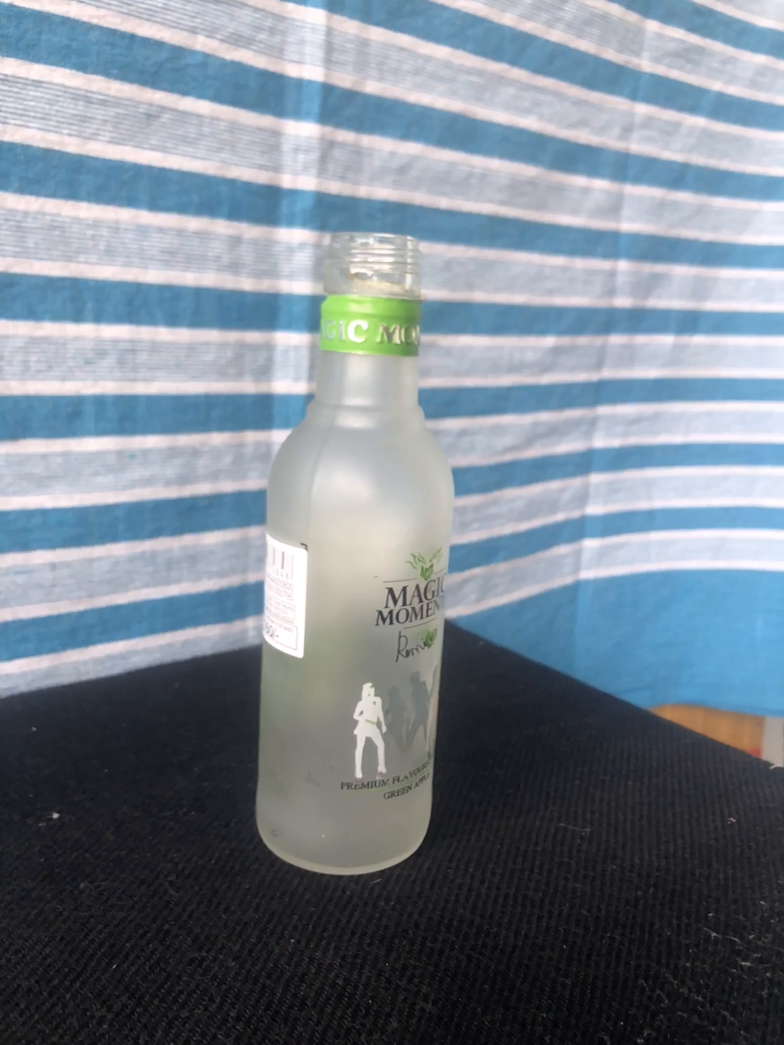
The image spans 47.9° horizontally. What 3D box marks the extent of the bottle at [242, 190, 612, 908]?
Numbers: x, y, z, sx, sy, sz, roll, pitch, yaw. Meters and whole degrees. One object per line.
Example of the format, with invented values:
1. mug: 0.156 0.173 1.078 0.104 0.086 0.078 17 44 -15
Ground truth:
1. bottle: 0.005 0.004 0.211 0.050 0.150 0.050 6 13 -2
